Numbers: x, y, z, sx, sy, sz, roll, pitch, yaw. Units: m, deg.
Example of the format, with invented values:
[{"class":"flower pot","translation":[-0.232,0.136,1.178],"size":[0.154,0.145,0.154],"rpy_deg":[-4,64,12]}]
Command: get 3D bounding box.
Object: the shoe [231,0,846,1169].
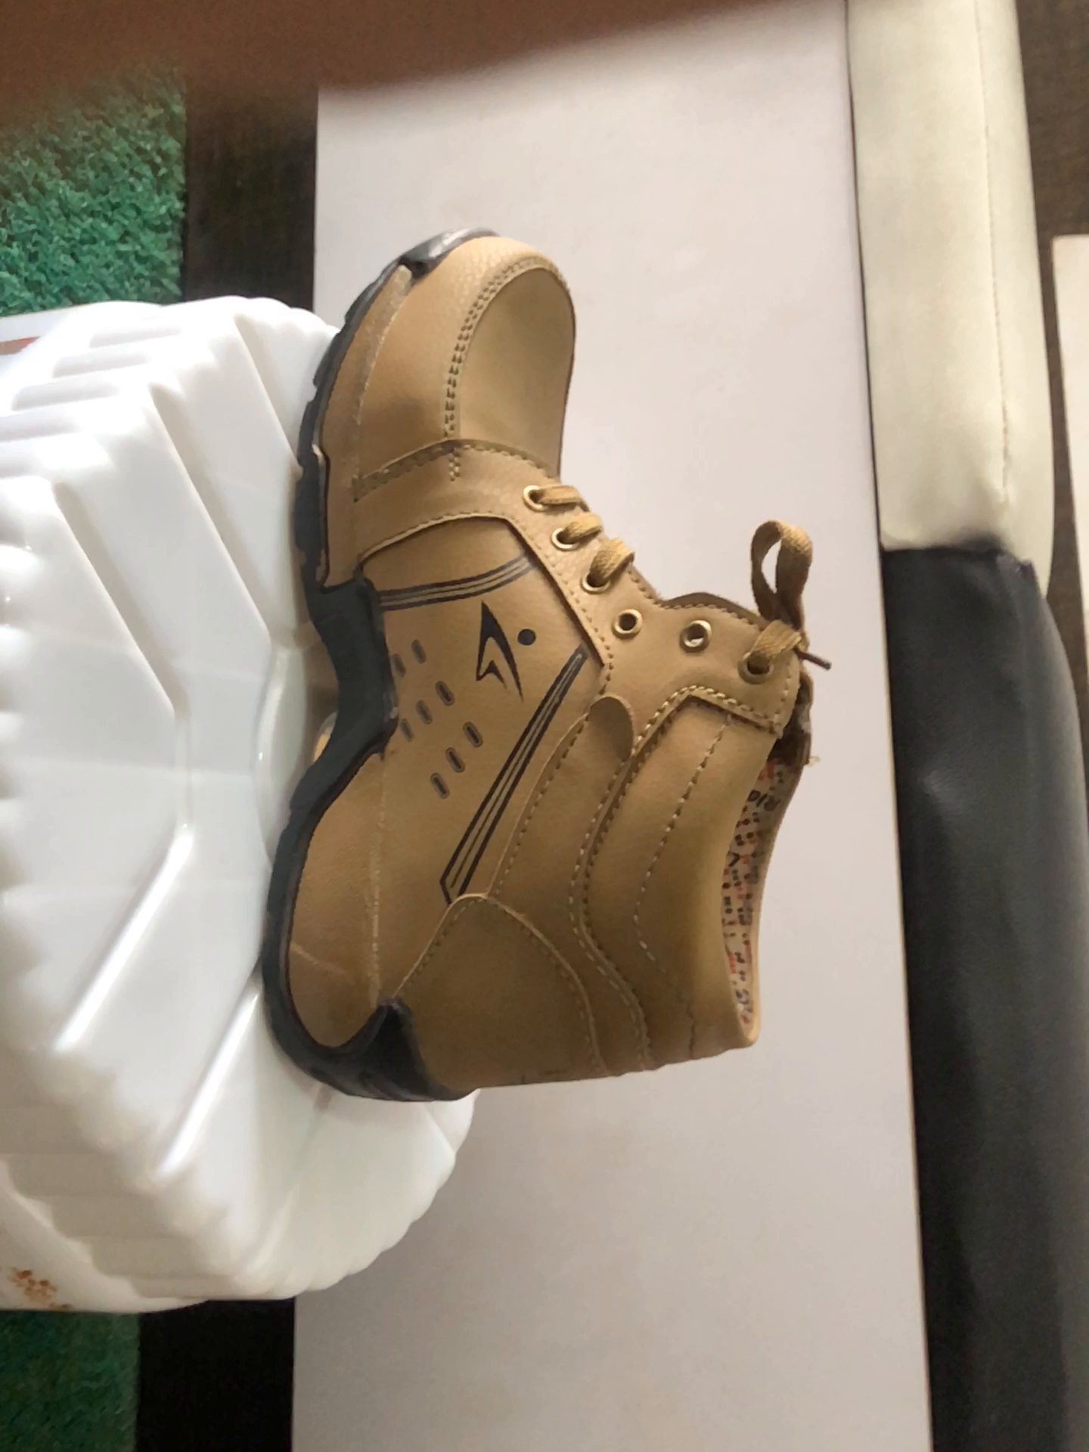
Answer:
[{"class":"shoe","translation":[0.016,-0.037,0.349],"size":[0.141,0.109,0.300],"rpy_deg":[39,50,-62]}]
